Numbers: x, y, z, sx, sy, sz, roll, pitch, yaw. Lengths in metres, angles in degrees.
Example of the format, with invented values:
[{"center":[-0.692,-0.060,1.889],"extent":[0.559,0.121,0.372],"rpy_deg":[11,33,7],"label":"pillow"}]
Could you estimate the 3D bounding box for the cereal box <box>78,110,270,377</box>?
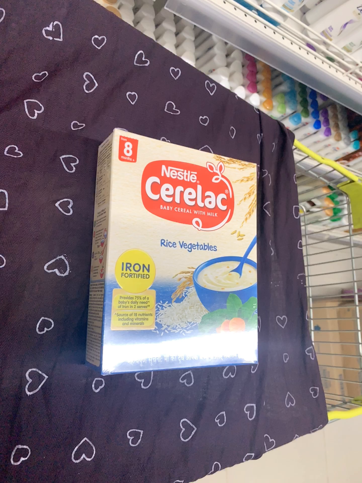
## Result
[{"center":[0.001,0.007,0.320],"extent":[0.151,0.050,0.190],"rpy_deg":[7,78,-29],"label":"cereal box"}]
